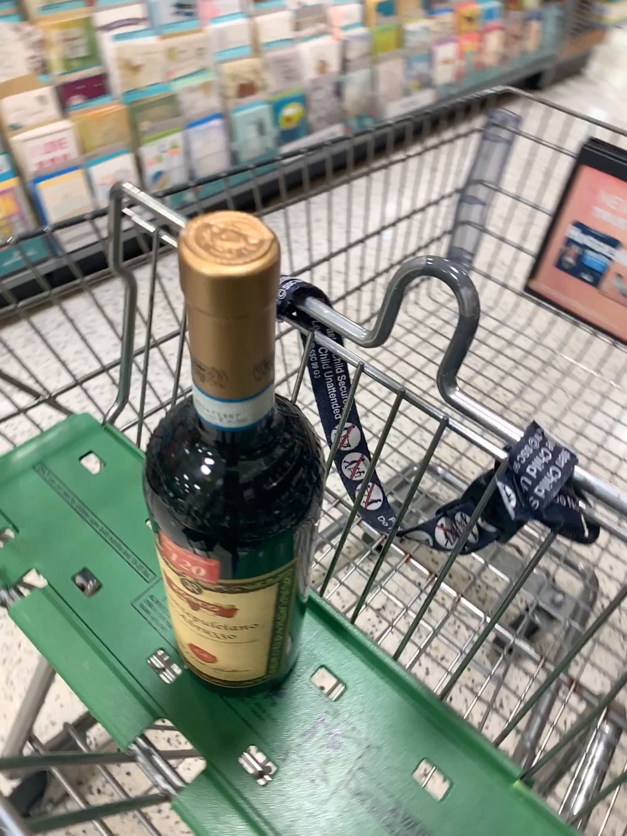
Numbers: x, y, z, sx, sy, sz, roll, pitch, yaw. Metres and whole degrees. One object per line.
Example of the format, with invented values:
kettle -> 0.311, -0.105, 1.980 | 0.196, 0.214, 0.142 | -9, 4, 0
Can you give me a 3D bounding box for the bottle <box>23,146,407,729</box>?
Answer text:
bottle -> -0.036, 0.039, 0.293 | 0.080, 0.277, 0.081 | 3, 48, -3
